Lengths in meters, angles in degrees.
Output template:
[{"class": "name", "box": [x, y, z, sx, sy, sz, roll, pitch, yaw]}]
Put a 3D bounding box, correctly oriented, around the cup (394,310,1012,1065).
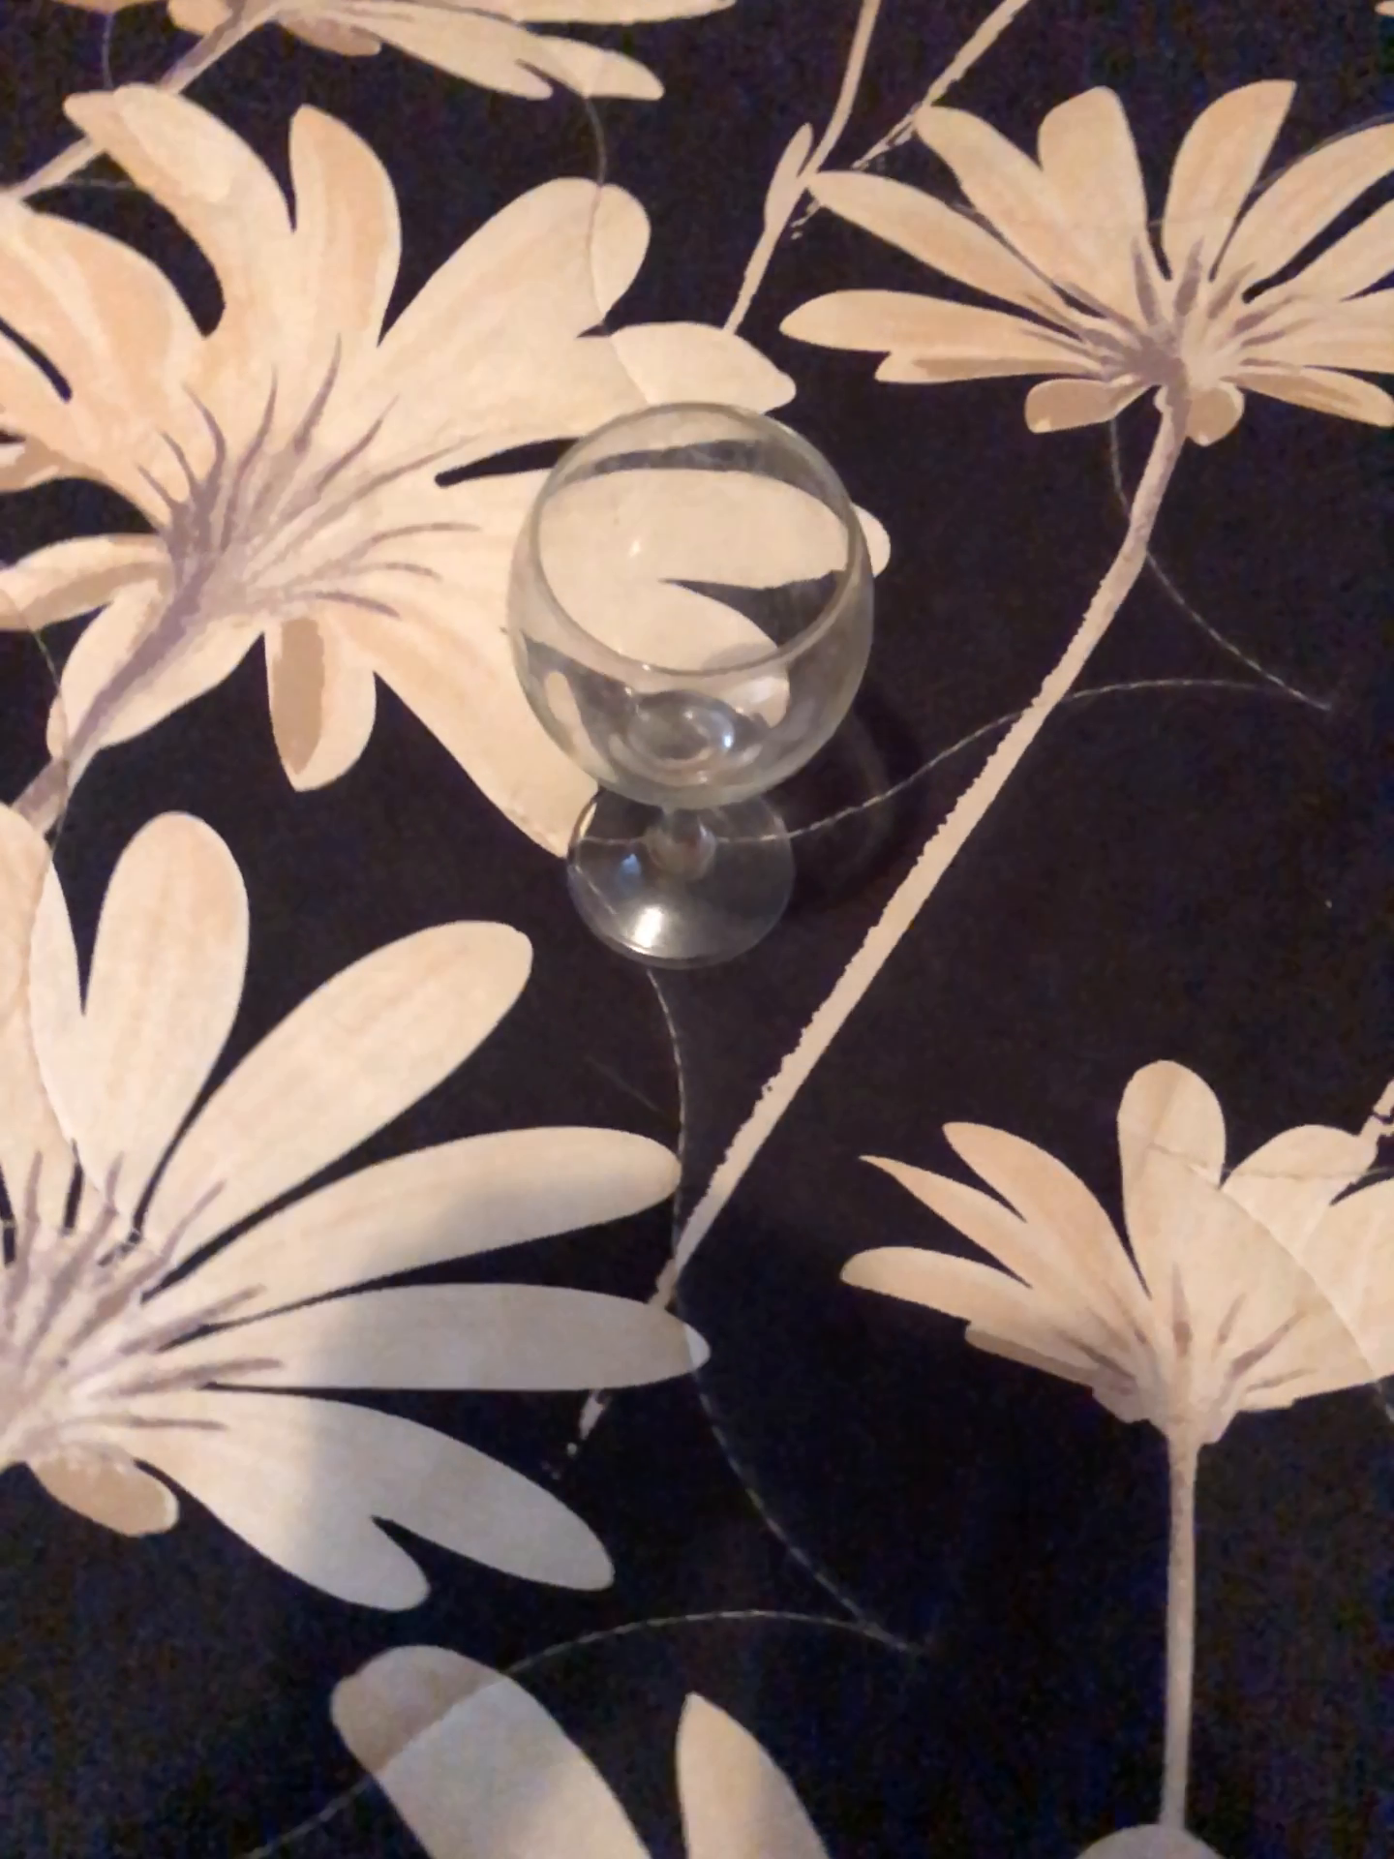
[{"class": "cup", "box": [-0.001, -0.045, 0.354, 0.082, 0.139, 0.084, 0, 68, -1]}]
